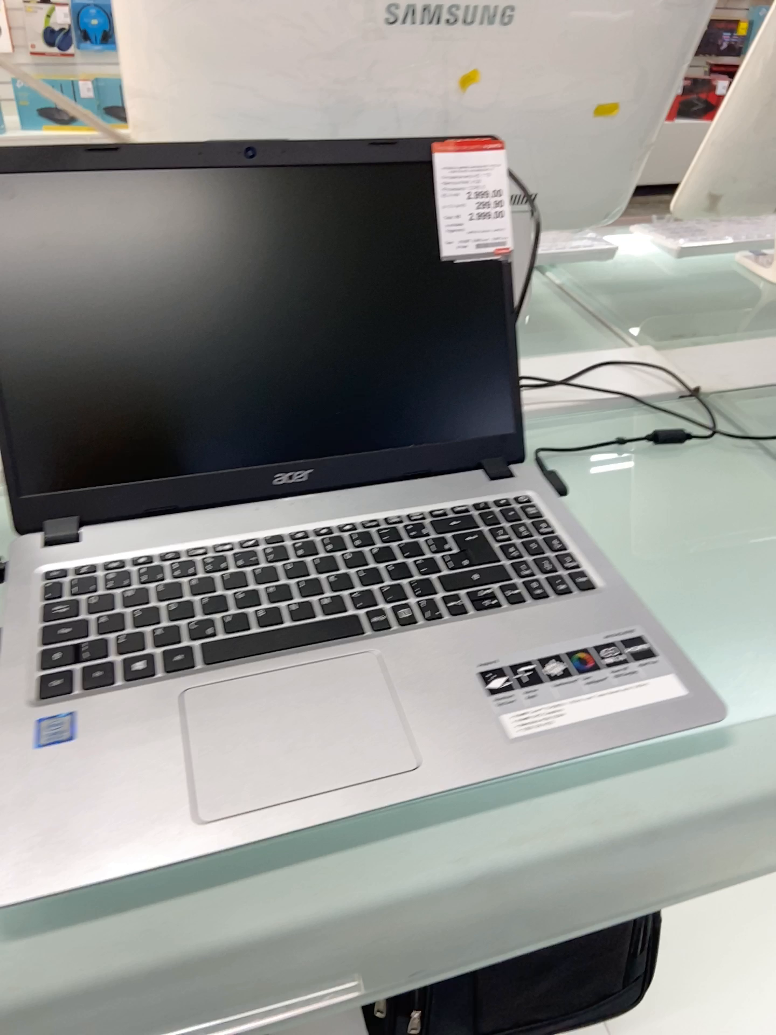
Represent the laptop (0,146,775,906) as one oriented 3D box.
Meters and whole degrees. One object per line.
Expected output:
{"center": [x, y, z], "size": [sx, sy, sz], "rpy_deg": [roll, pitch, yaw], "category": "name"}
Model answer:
{"center": [-0.043, -0.055, 0.455], "size": [0.365, 0.204, 0.365], "rpy_deg": [-9, 38, -15], "category": "laptop"}
